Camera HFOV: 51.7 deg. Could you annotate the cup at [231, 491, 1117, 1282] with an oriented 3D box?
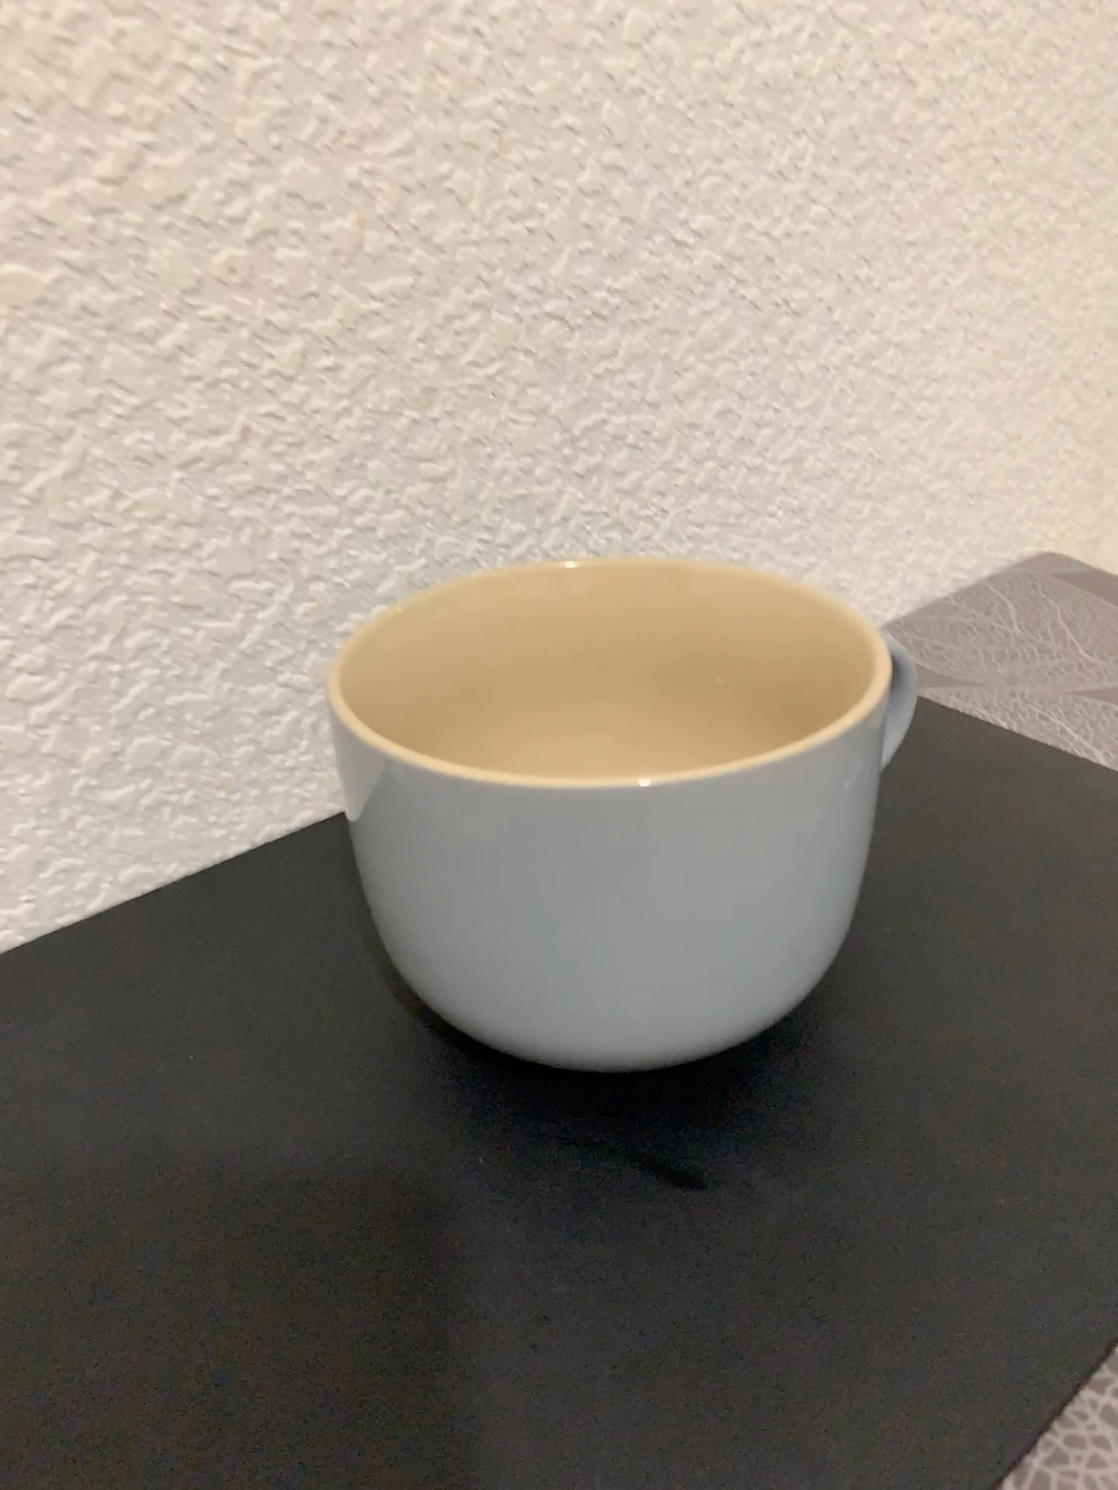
[{"bbox_3d":[0.022,0.011,0.239,0.133,0.079,0.111,-19,32,-27],"label":"cup"}]
